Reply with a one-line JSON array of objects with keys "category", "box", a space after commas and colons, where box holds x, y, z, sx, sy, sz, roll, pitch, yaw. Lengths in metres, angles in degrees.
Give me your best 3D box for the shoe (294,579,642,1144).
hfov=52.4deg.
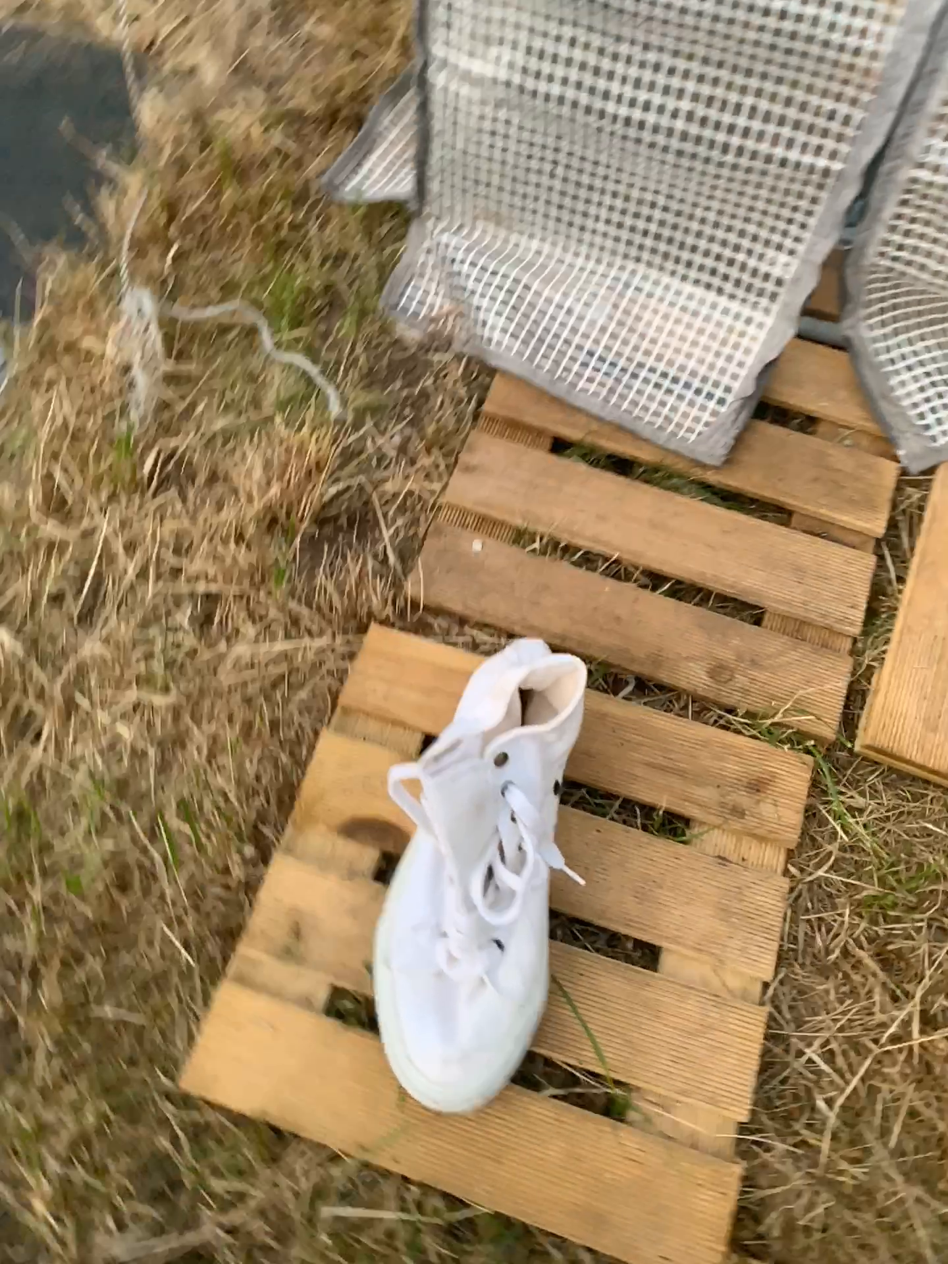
[{"category": "shoe", "box": [0.006, 0.118, 0.524, 0.100, 0.109, 0.262, 15, 61, 7]}]
